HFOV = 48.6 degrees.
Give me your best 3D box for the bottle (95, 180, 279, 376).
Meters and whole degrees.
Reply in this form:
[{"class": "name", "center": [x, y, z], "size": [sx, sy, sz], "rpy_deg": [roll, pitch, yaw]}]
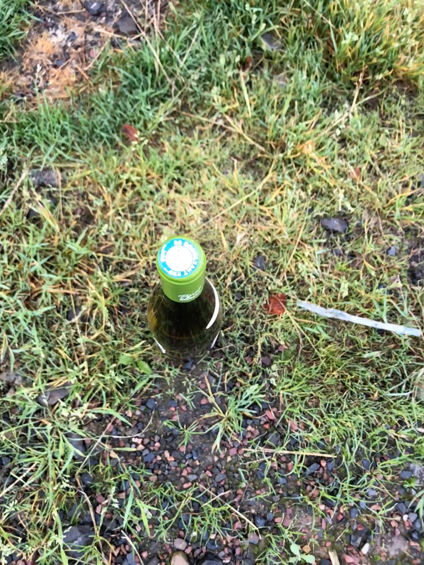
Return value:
[{"class": "bottle", "center": [-0.018, 0.025, 0.436], "size": [0.090, 0.320, 0.090], "rpy_deg": [0, 77, -1]}]
